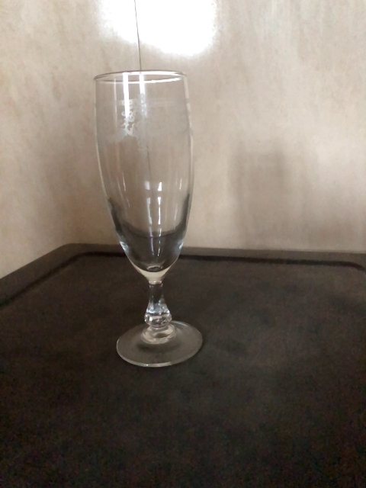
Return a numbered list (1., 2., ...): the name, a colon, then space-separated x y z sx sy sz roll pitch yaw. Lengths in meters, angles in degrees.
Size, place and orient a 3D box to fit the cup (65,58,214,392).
1. cup: -0.021 -0.010 0.237 0.060 0.169 0.060 -4 15 1
